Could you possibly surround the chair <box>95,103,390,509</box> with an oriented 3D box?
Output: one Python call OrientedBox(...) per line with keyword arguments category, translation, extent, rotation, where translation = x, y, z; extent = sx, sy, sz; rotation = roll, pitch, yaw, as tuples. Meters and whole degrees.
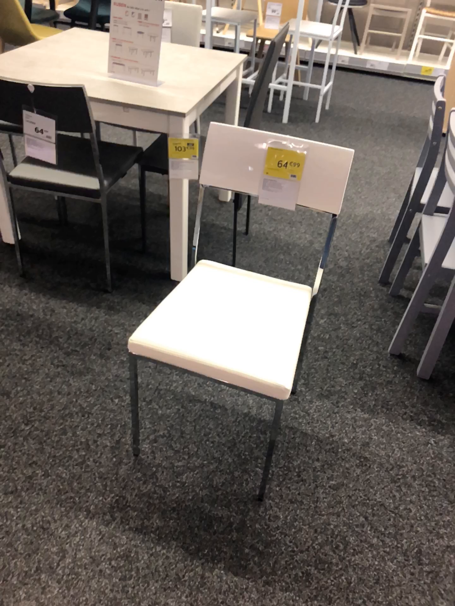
OrientedBox(category="chair", translation=(0.049, 0.009, 1.314), extent=(0.500, 0.815, 0.544), rotation=(14, 39, 11))
